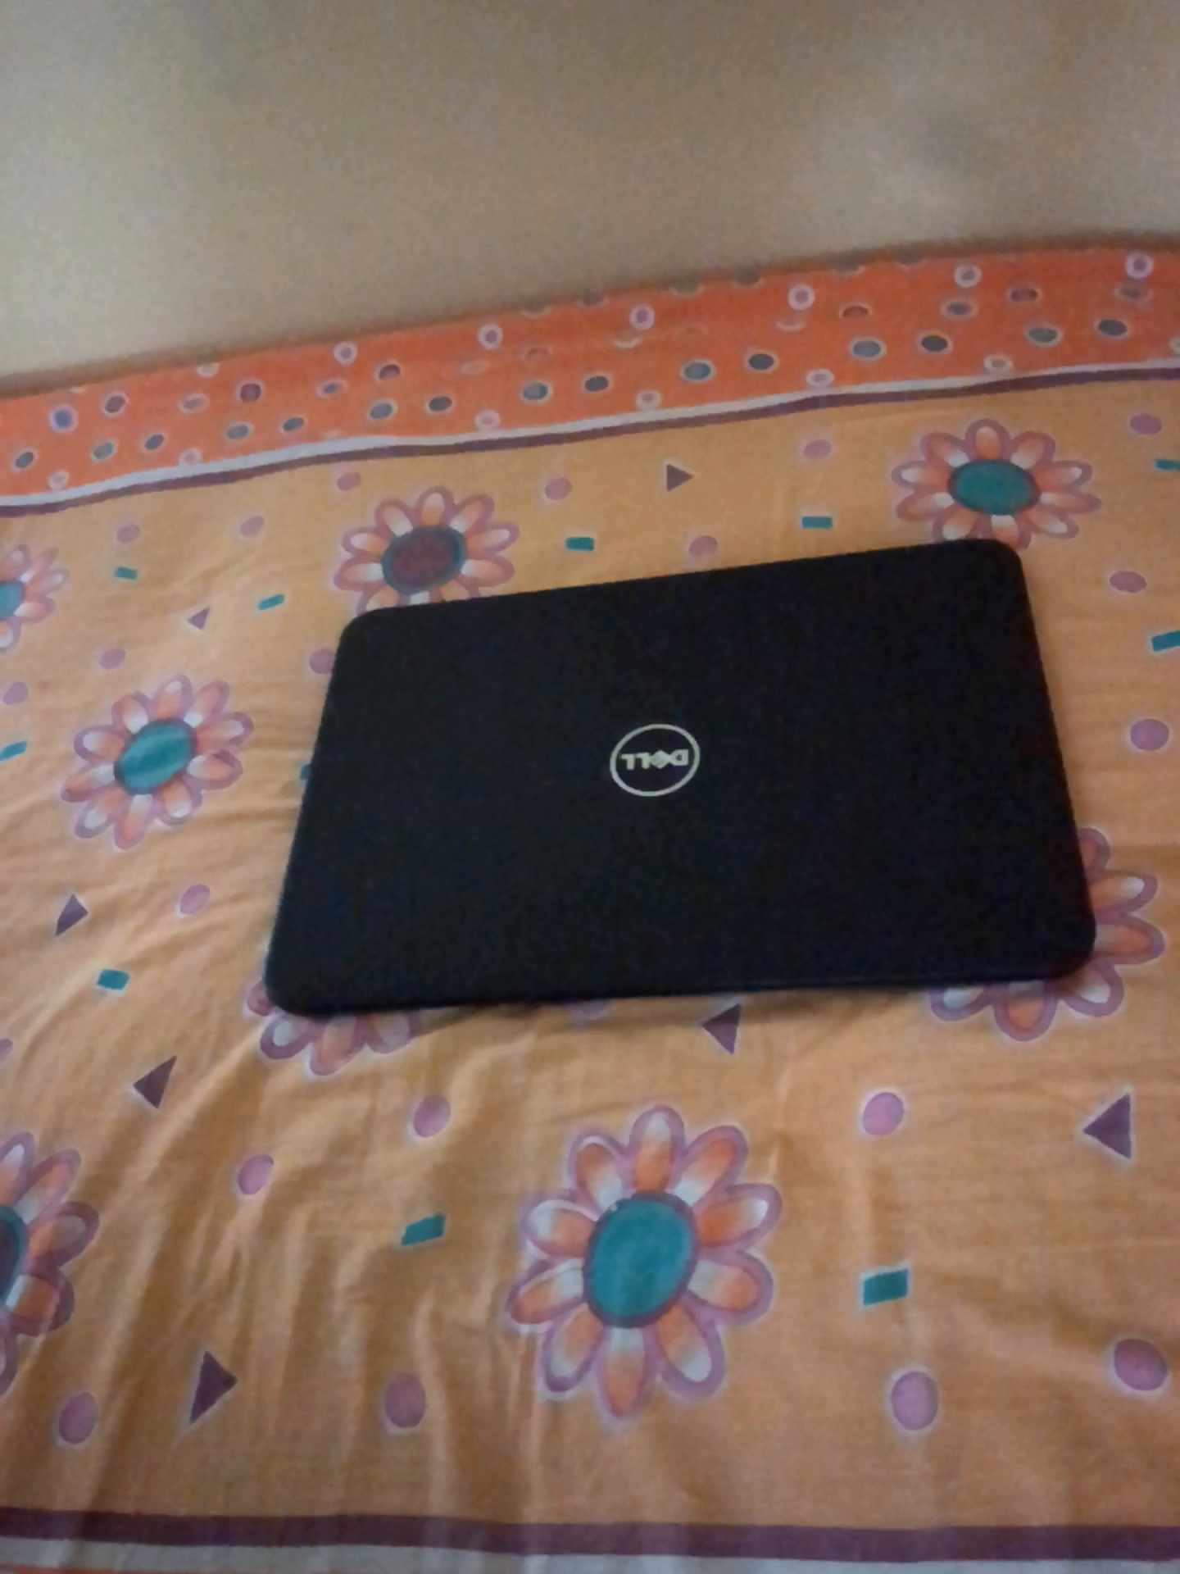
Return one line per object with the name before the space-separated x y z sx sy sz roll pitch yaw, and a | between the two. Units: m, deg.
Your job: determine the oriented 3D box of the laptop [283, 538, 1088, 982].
laptop | 0.034 -0.019 0.642 0.358 0.001 0.236 -5 54 11
